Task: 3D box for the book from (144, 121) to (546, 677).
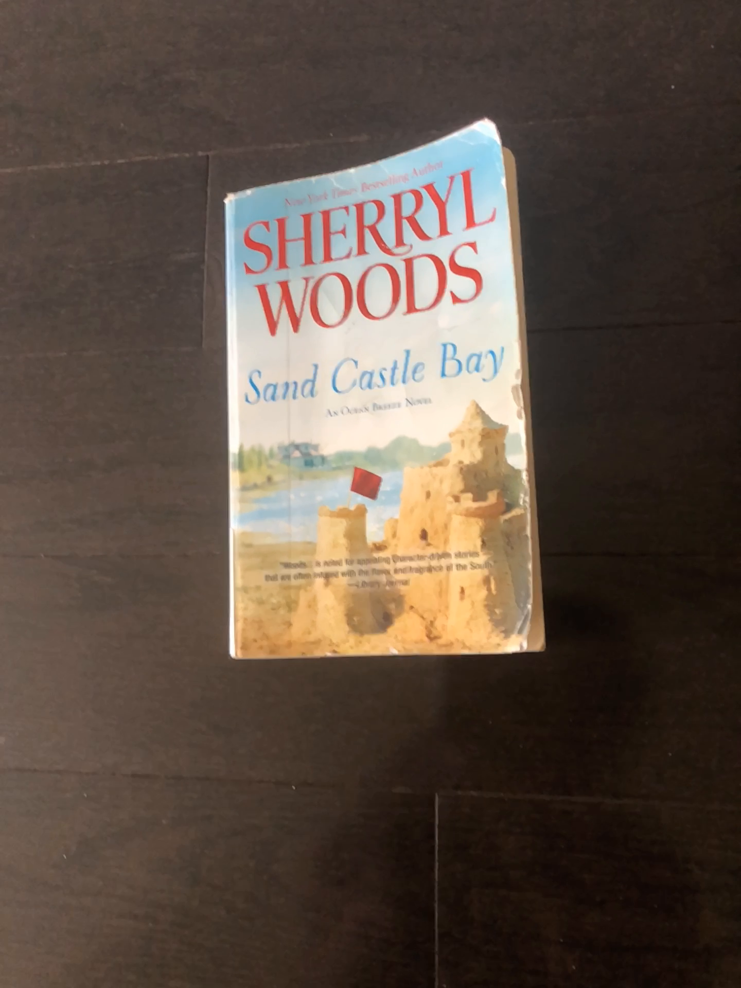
[{"bbox_3d":[-0.009,-0.025,0.269,0.119,0.037,0.161,-4,85,13],"label":"book"}]
